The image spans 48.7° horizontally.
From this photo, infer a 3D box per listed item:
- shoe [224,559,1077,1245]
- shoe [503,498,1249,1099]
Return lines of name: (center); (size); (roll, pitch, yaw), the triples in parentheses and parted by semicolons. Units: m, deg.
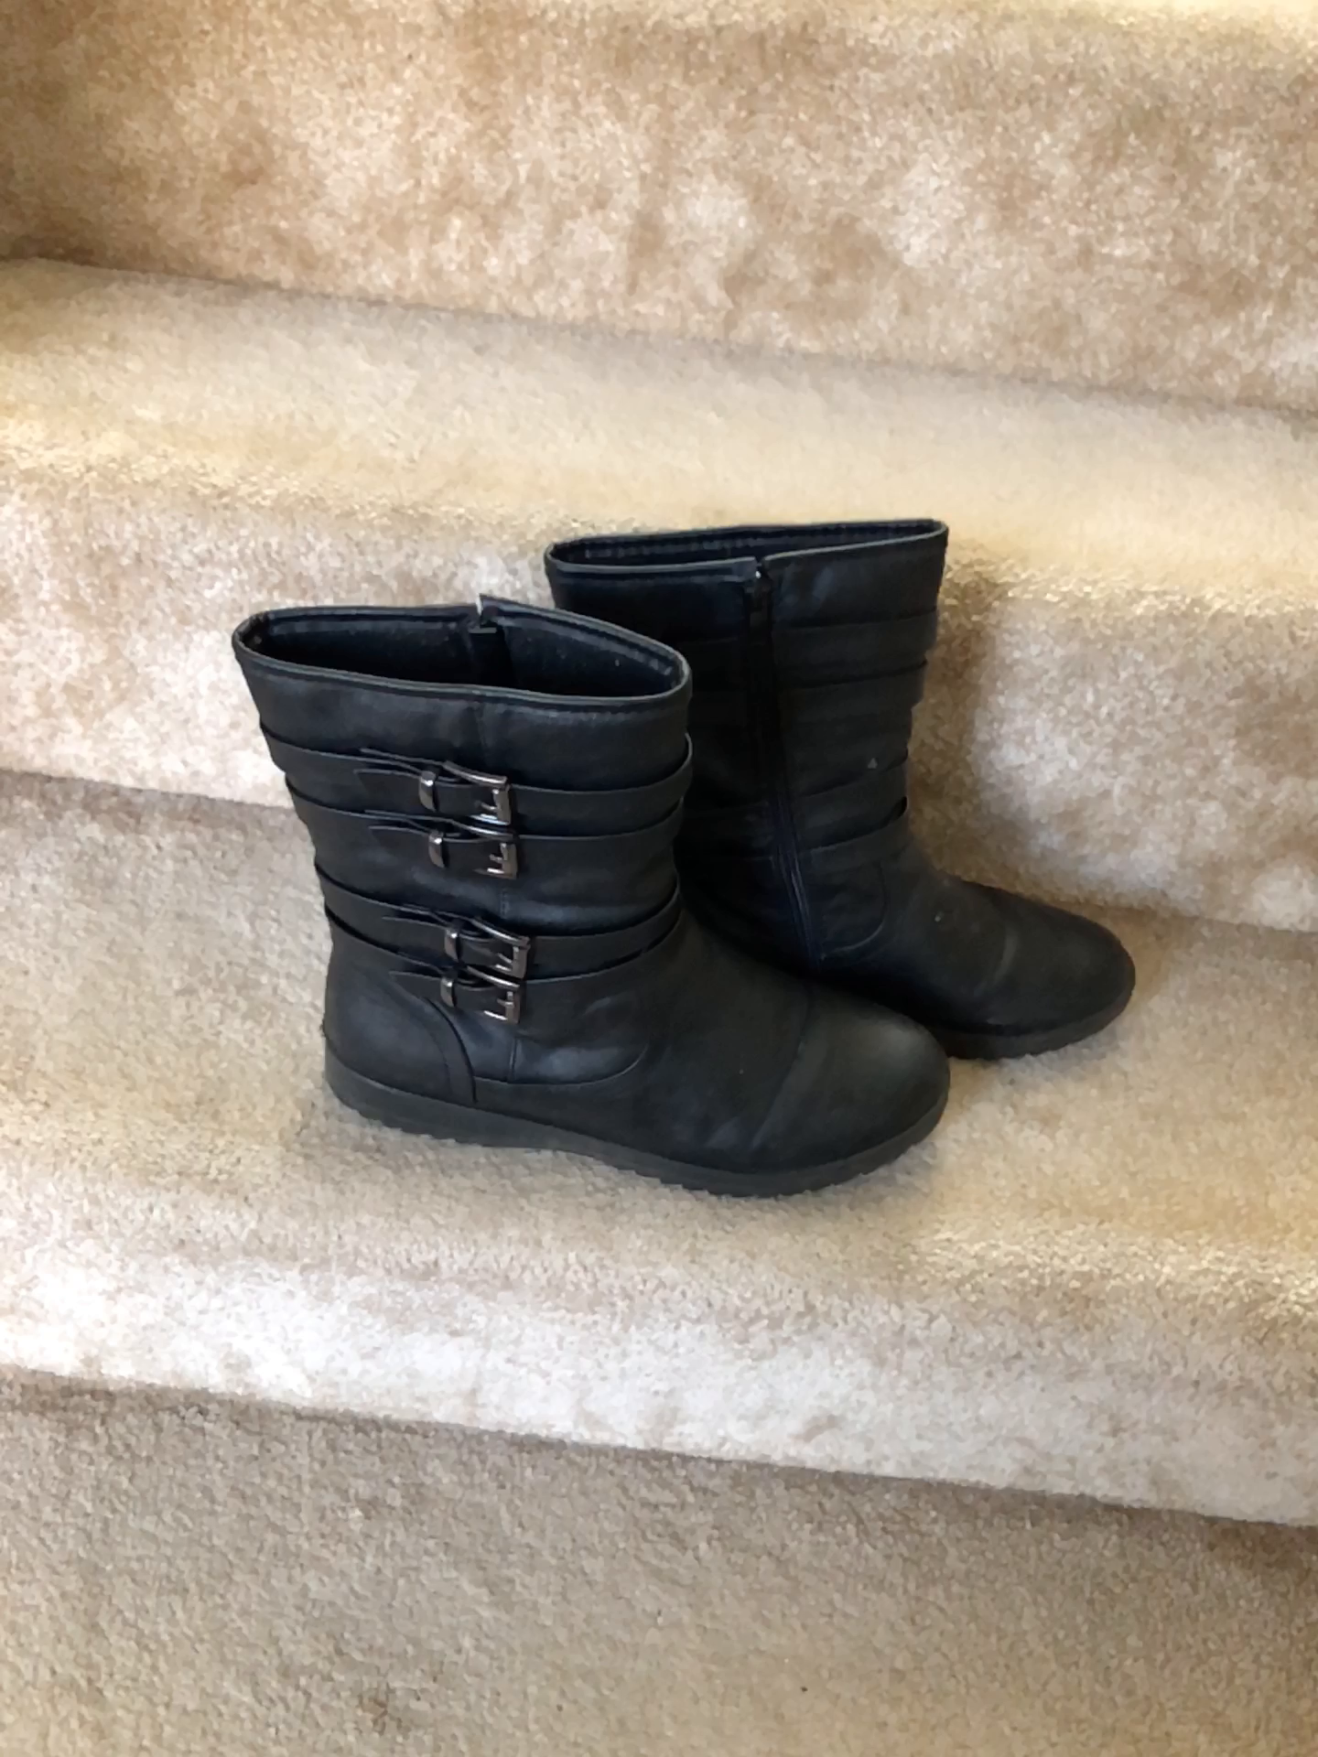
shoe: (-0.007, 0.012, 0.555); (0.270, 0.199, 0.101); (10, 39, 4)
shoe: (0.082, -0.032, 0.637); (0.270, 0.218, 0.101); (6, 39, 7)
